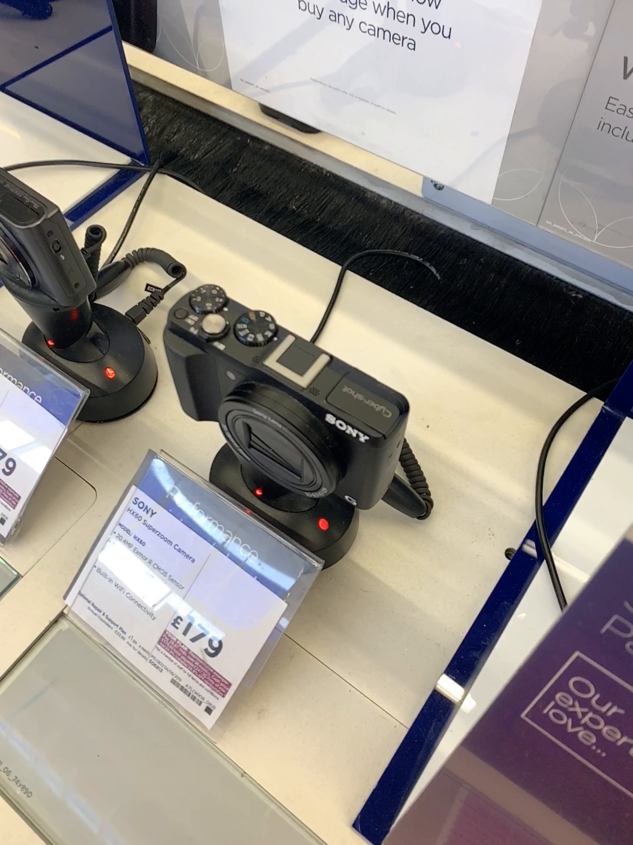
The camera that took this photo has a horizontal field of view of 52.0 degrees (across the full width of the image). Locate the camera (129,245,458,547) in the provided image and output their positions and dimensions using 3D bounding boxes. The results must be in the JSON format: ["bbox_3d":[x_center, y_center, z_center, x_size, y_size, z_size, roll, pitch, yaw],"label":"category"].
[{"bbox_3d":[-0.009,-0.009,0.252,0.110,0.070,0.040,30,64,18],"label":"camera"}]
